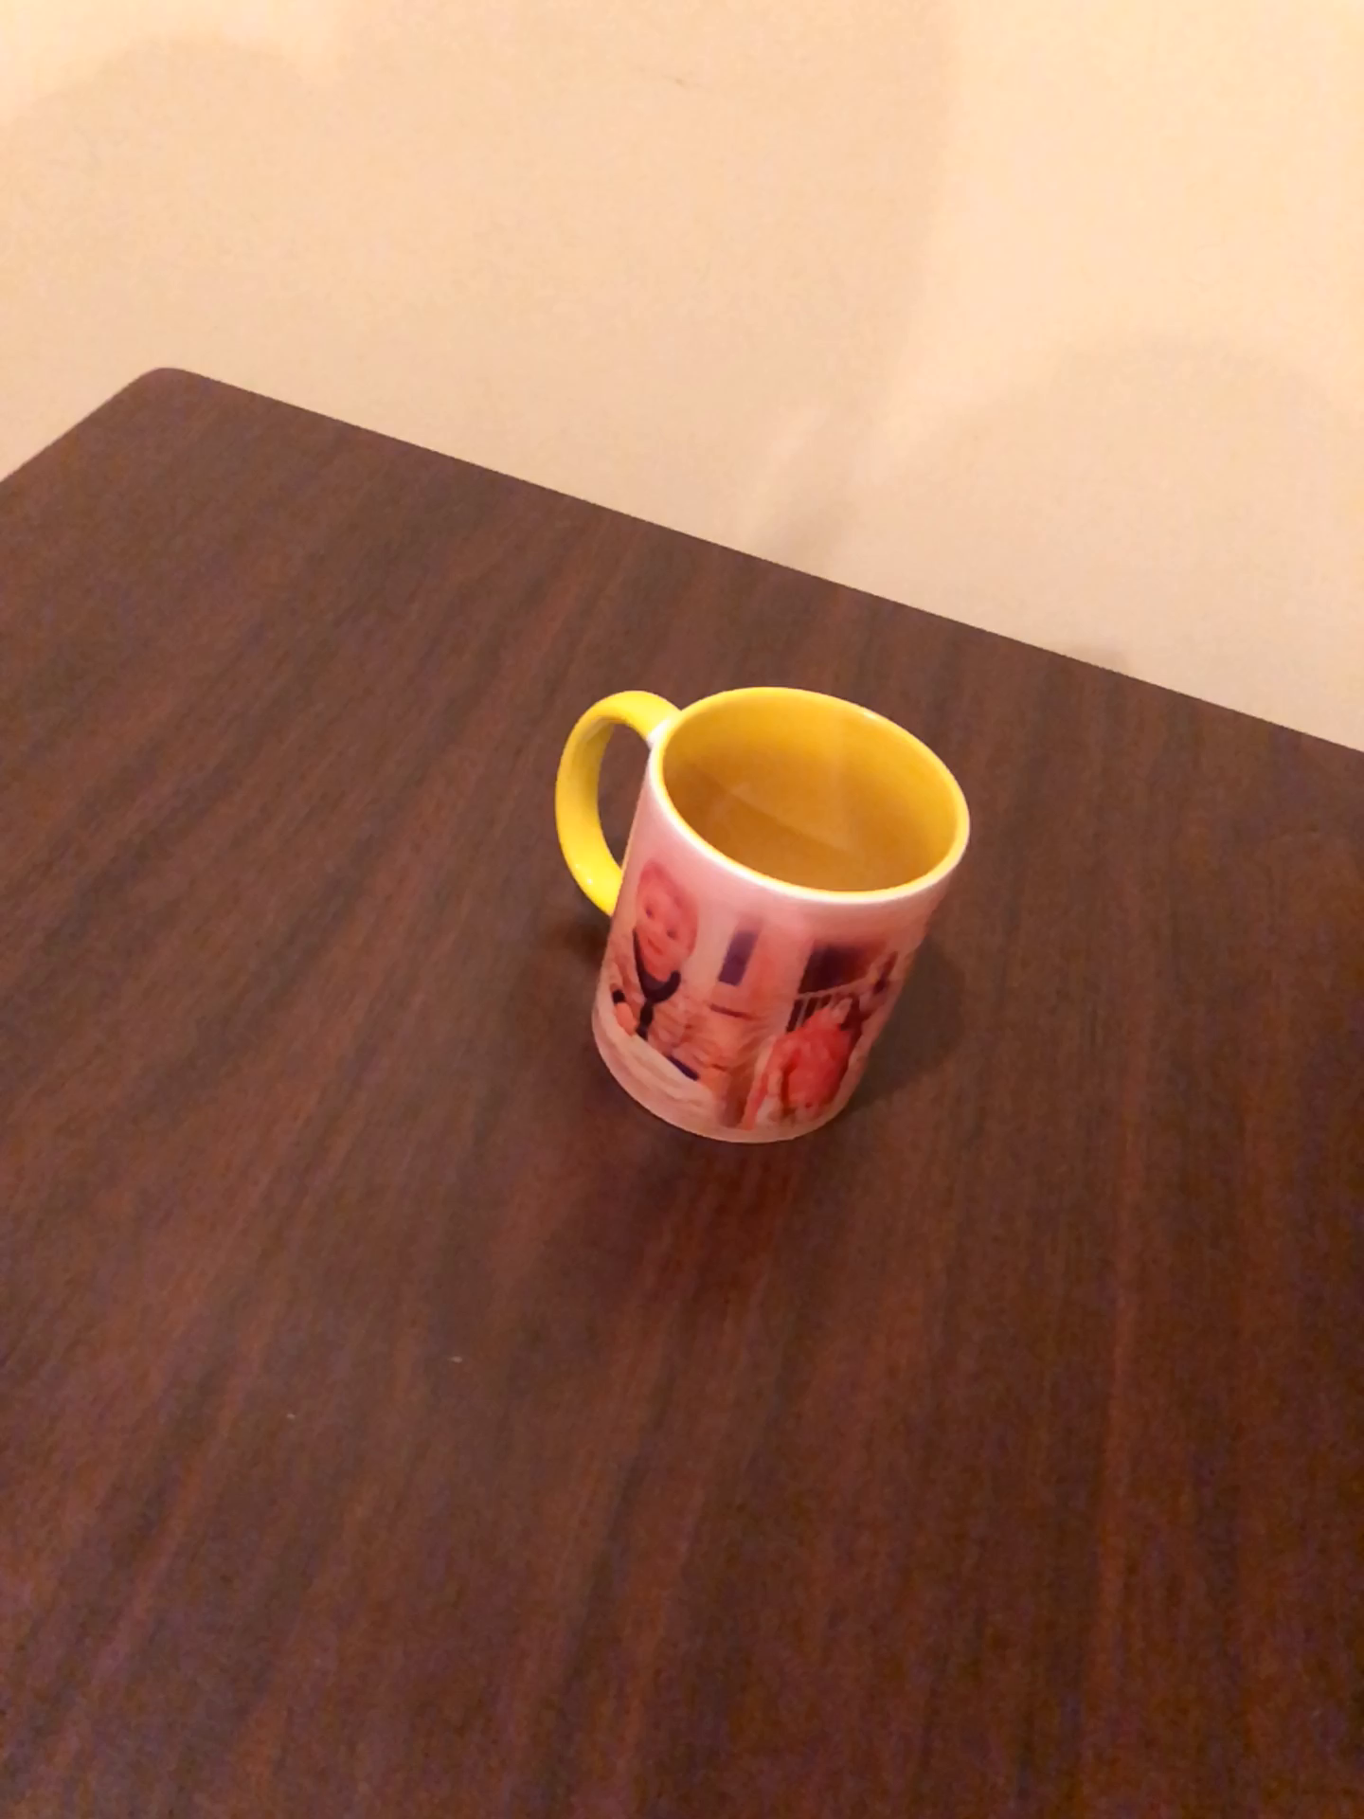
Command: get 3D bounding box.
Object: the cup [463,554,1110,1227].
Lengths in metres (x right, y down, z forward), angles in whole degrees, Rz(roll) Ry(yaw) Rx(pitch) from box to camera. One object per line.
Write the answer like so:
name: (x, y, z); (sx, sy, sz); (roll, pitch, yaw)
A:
cup: (0.023, -0.008, 0.394); (0.120, 0.099, 0.090); (33, 46, 18)
